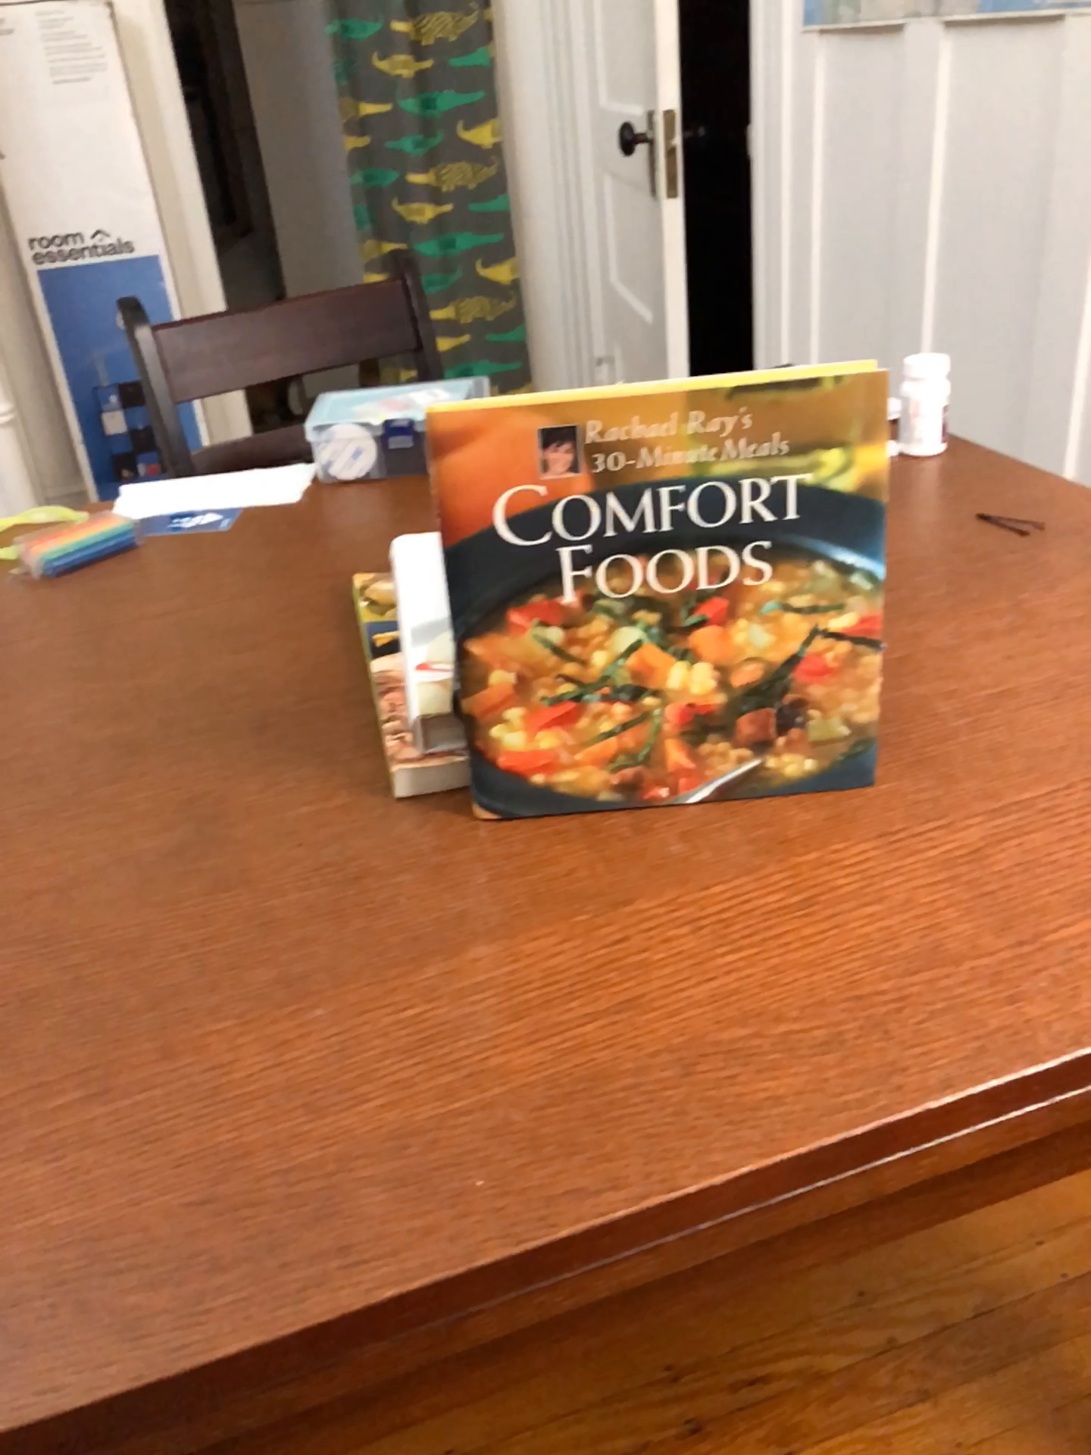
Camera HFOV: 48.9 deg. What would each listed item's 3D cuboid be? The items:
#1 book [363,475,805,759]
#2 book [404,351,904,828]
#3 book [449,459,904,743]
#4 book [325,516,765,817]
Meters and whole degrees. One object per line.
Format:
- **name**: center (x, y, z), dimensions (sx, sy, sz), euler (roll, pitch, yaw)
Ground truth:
- **book**: center (0.005, -0.083, 0.740), dimensions (0.220, 0.030, 0.282), euler (-9, 31, -6)
- **book**: center (0.052, -0.058, 0.563), dimensions (0.210, 0.209, 0.030), euler (-4, 27, 0)
- **book**: center (0.055, -0.088, 0.710), dimensions (0.220, 0.030, 0.282), euler (-7, 30, -1)
- **book**: center (-0.018, -0.054, 0.749), dimensions (0.220, 0.030, 0.282), euler (-10, 31, -8)
